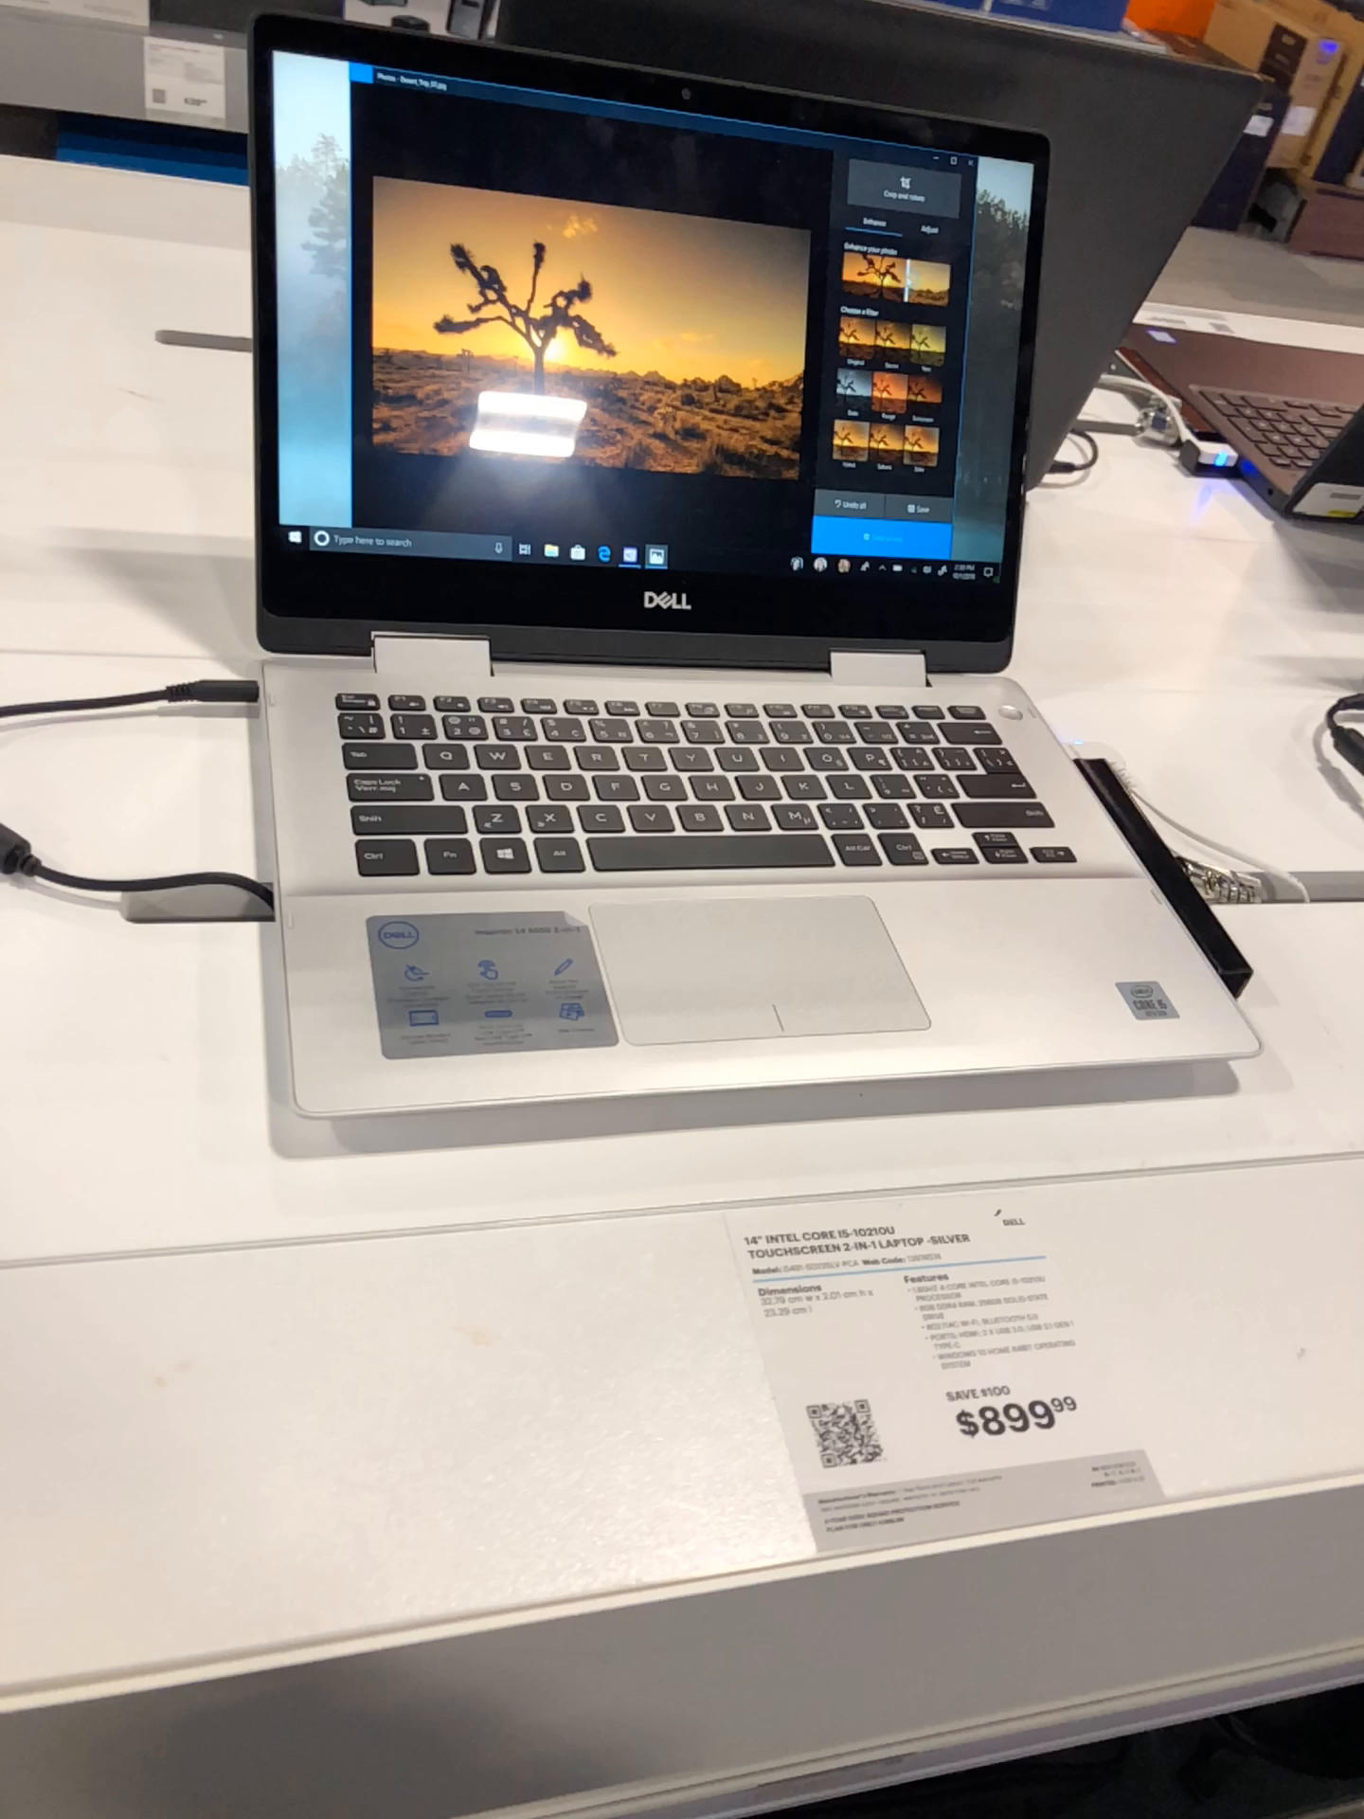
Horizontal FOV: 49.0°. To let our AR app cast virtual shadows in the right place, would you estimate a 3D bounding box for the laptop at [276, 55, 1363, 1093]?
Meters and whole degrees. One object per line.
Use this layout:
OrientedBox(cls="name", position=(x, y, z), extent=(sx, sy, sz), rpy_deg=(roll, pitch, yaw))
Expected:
OrientedBox(cls="laptop", position=(0.030, -0.128, 0.515), extent=(0.311, 0.195, 0.328), rpy_deg=(-1, 41, -16))
